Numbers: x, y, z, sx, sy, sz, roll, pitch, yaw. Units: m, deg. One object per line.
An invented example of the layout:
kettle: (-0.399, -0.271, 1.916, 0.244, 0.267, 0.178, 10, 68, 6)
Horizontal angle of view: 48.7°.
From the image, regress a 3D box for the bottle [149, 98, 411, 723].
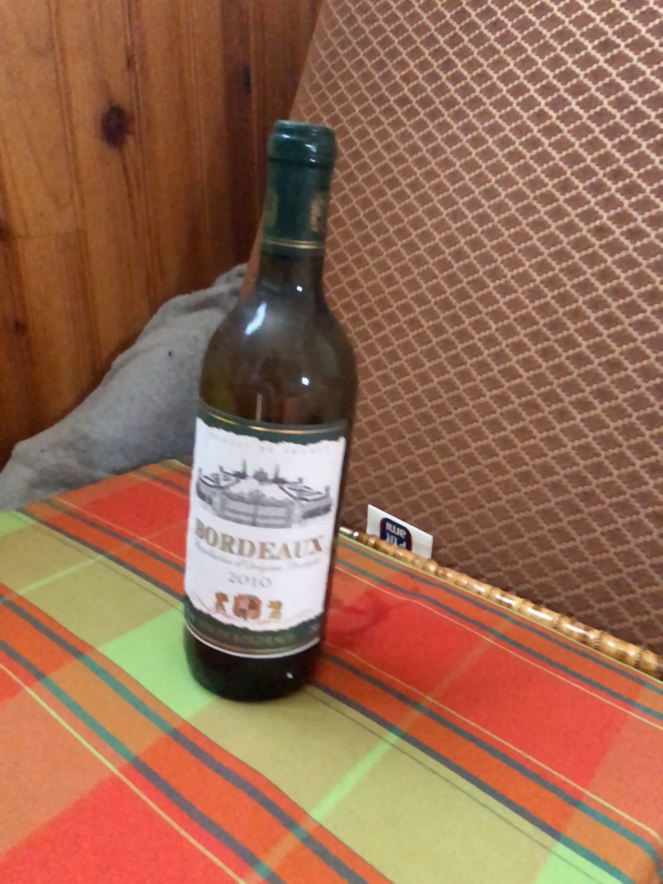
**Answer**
bottle: (-0.027, -0.011, 0.355, 0.080, 0.269, 0.080, 7, 18, -2)
